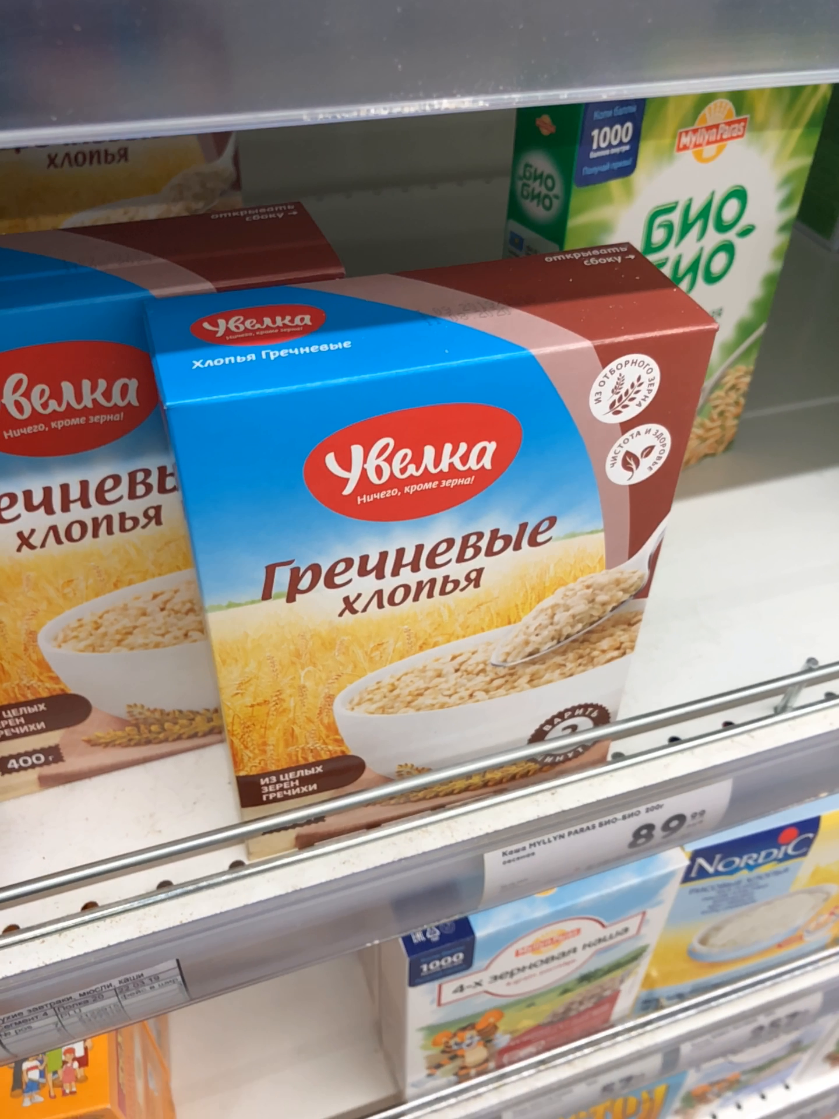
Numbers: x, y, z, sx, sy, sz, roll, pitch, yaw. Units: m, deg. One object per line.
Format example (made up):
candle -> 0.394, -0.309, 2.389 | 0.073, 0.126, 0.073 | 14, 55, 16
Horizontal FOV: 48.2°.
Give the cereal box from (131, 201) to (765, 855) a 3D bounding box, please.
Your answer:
cereal box -> 0.005, -0.002, 0.301 | 0.150, 0.189, 0.060 | -12, 43, -14
